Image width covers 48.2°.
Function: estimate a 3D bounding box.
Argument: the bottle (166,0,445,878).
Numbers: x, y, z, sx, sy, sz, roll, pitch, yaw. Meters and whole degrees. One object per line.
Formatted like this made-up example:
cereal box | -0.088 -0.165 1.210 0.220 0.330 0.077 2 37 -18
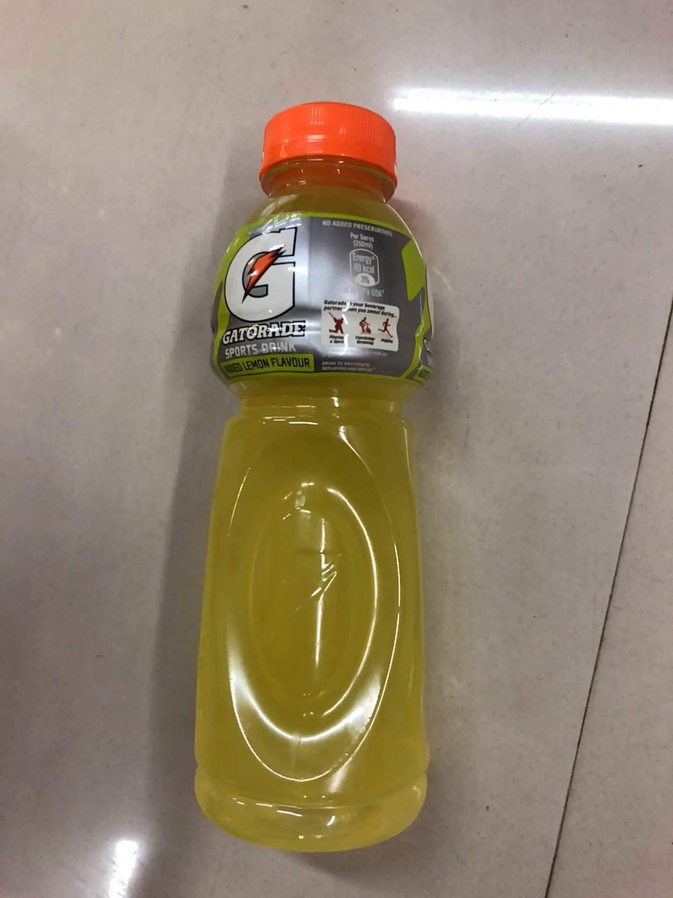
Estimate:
bottle | -0.007 -0.003 0.236 0.070 0.060 0.230 0 91 19
